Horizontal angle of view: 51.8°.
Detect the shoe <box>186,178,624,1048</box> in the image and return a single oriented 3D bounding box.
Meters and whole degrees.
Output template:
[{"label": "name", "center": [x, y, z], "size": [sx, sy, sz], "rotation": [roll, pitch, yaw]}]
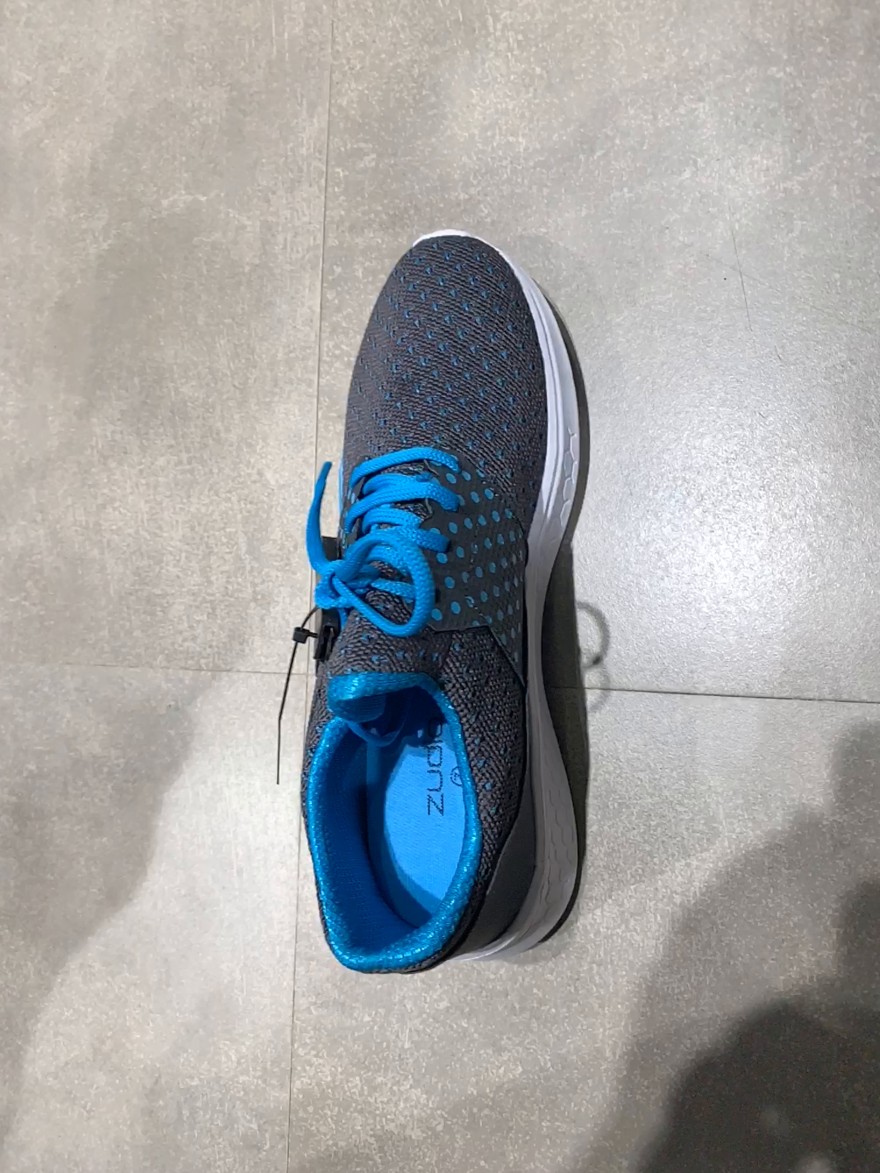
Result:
[{"label": "shoe", "center": [-0.009, 0.010, 0.302], "size": [0.103, 0.101, 0.227], "rotation": [-6, 83, 23]}]
